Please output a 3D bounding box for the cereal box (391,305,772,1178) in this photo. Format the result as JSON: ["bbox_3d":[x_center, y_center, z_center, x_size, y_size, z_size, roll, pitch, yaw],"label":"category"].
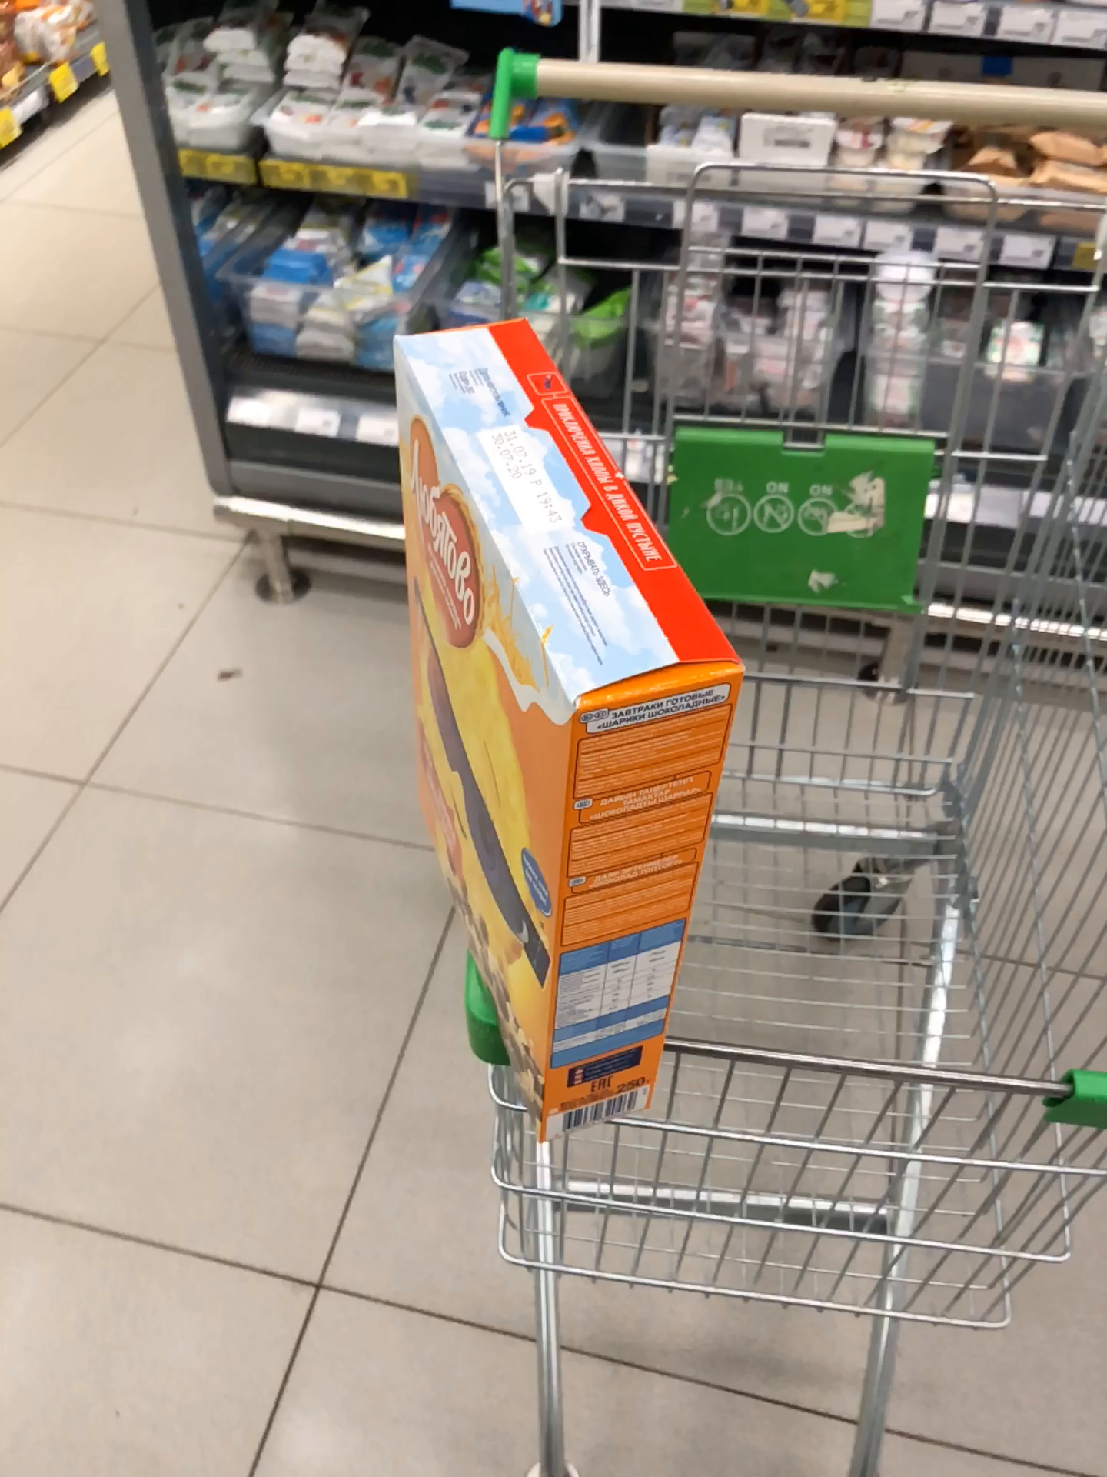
[{"bbox_3d":[-0.007,0.010,0.458,0.050,0.259,0.201,-12,49,-14],"label":"cereal box"}]
